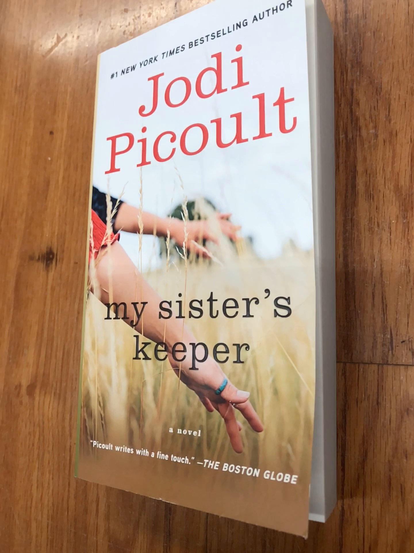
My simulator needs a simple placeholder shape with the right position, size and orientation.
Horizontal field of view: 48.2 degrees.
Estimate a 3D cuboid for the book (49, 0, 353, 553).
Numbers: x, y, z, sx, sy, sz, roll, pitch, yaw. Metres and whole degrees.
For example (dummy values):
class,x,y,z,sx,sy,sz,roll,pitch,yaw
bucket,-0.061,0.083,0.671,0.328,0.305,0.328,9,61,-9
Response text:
class,x,y,z,sx,sy,sz,roll,pitch,yaw
book,-0.003,-0.011,0.186,0.110,0.040,0.190,-3,82,31
